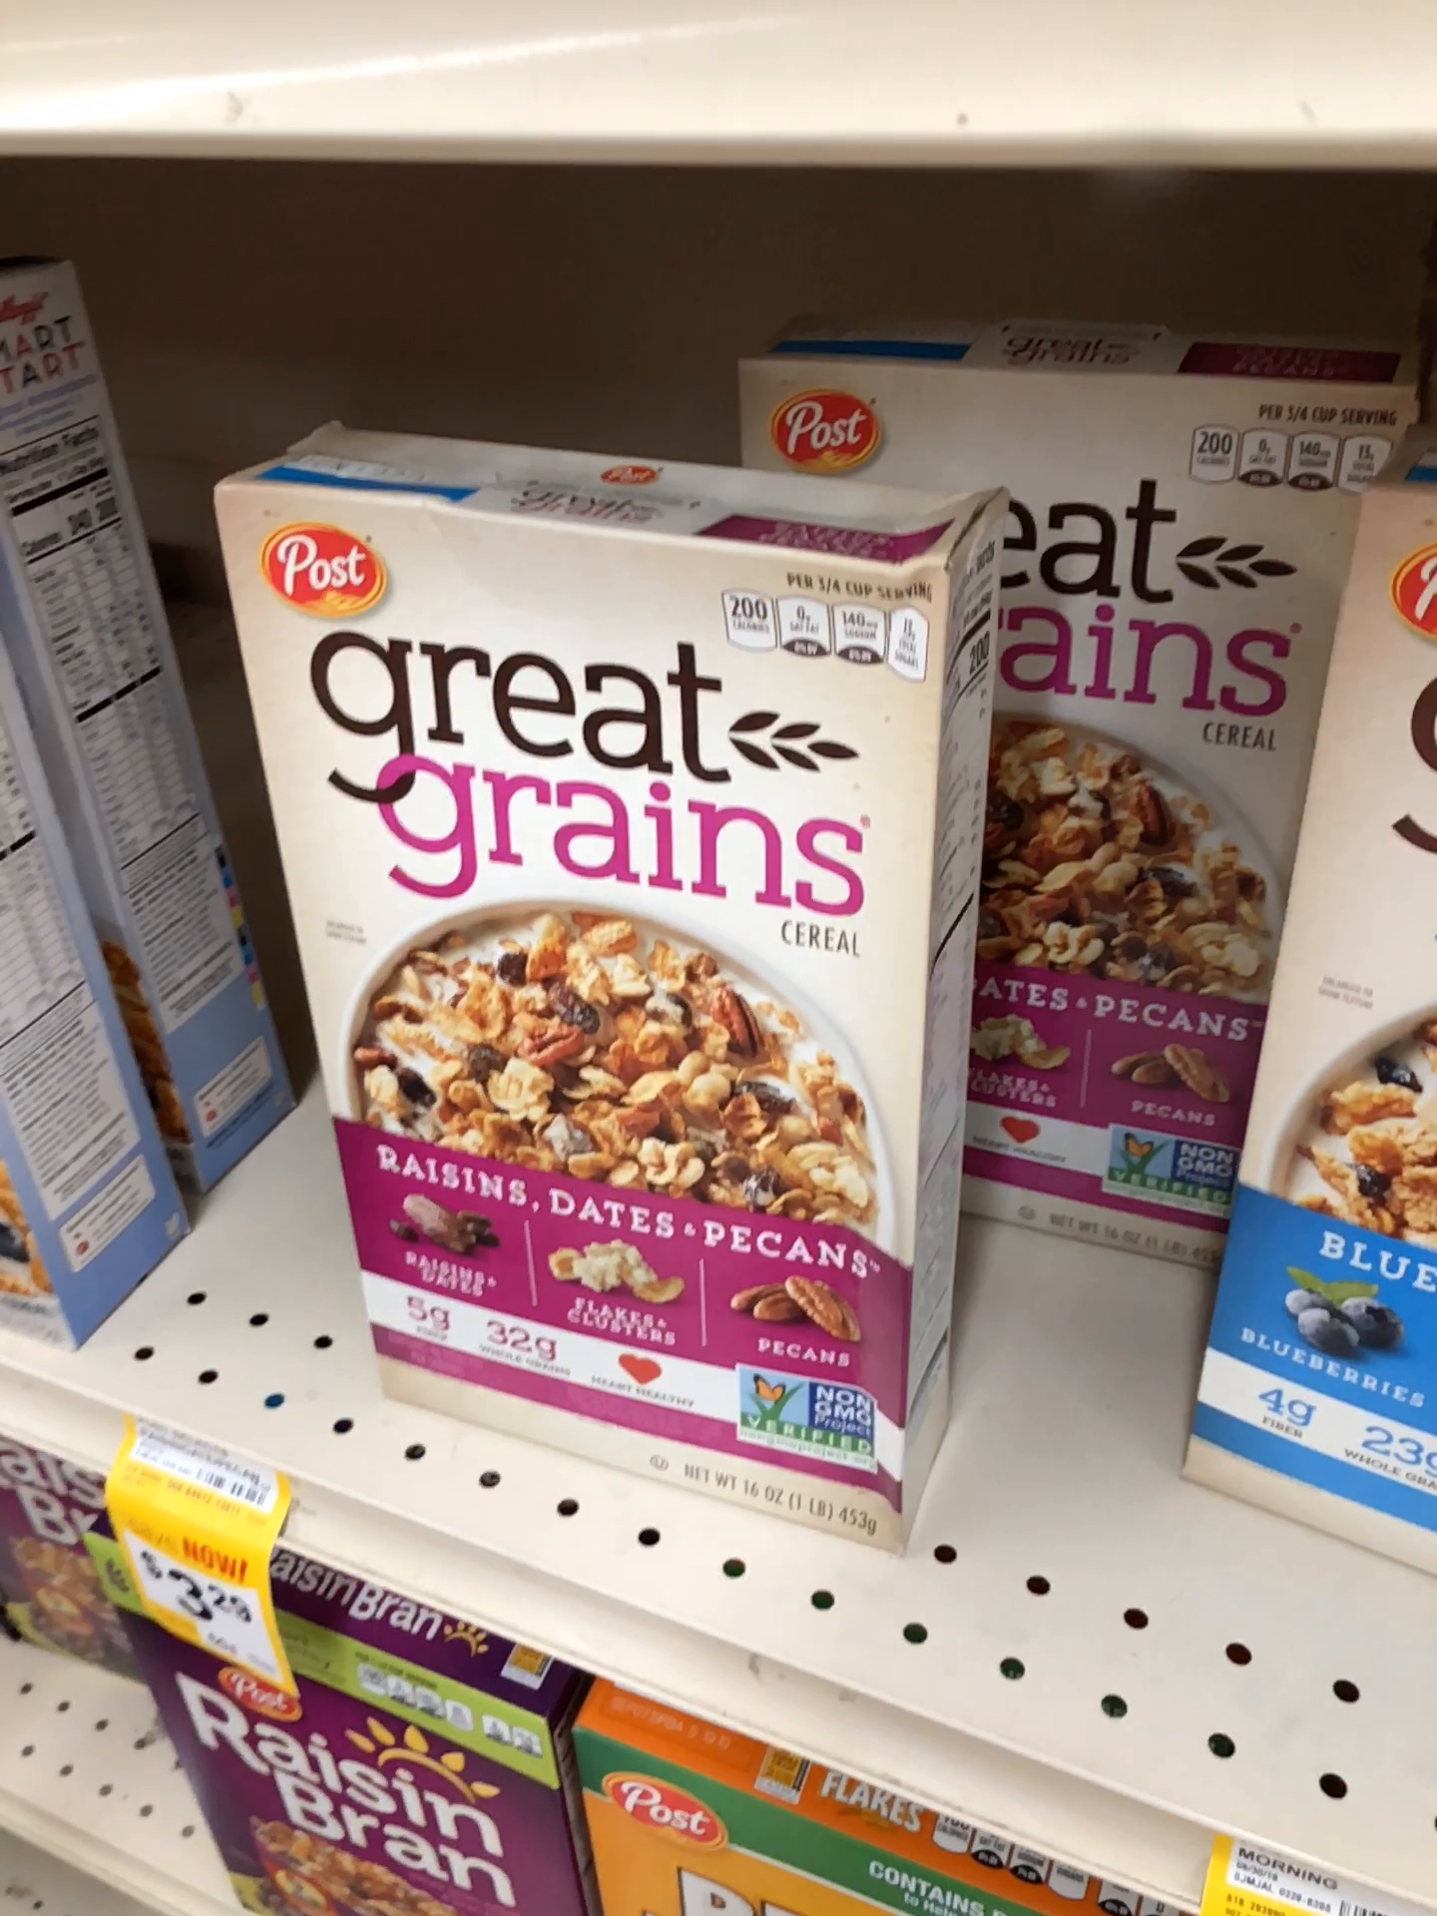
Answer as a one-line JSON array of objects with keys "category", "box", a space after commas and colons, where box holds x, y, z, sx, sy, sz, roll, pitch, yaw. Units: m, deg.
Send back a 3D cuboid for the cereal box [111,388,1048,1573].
[{"category": "cereal box", "box": [-0.023, 0.016, 0.374, 0.170, 0.269, 0.050, 11, 37, 19]}]
